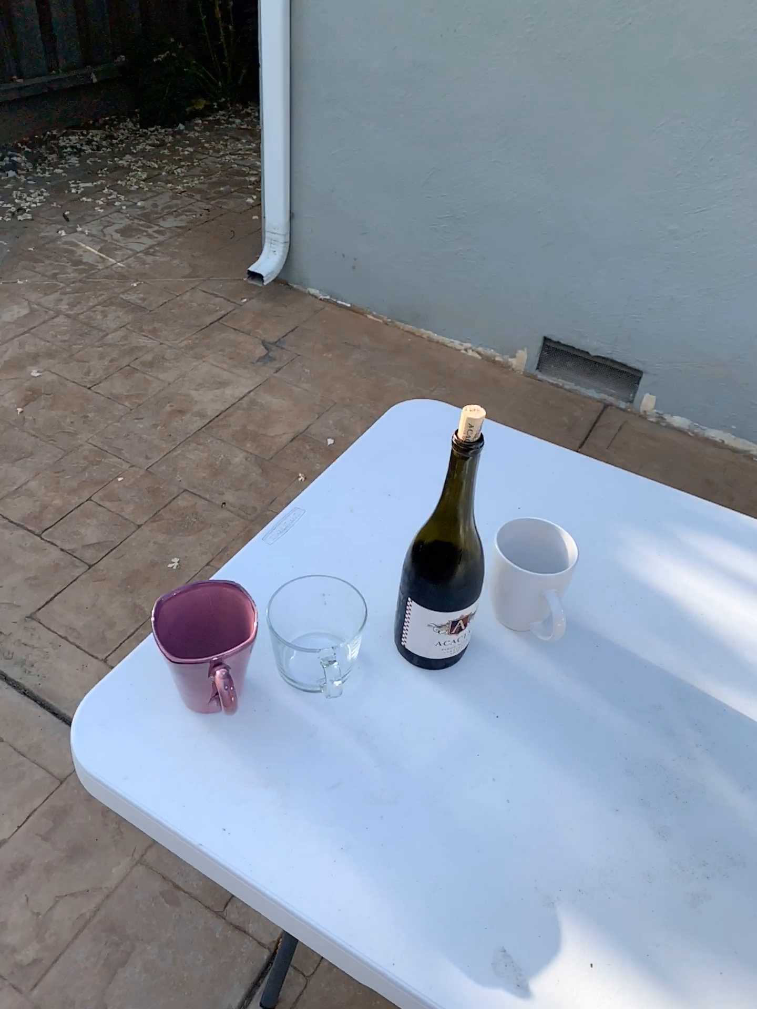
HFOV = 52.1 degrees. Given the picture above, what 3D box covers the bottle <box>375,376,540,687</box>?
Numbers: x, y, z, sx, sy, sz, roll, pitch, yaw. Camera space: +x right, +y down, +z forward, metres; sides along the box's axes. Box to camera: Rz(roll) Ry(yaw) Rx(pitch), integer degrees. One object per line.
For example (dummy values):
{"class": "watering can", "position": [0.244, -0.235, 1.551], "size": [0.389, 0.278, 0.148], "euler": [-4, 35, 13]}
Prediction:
{"class": "bottle", "position": [0.067, 0.038, 0.764], "size": [0.080, 0.308, 0.090], "euler": [-22, 48, -28]}
